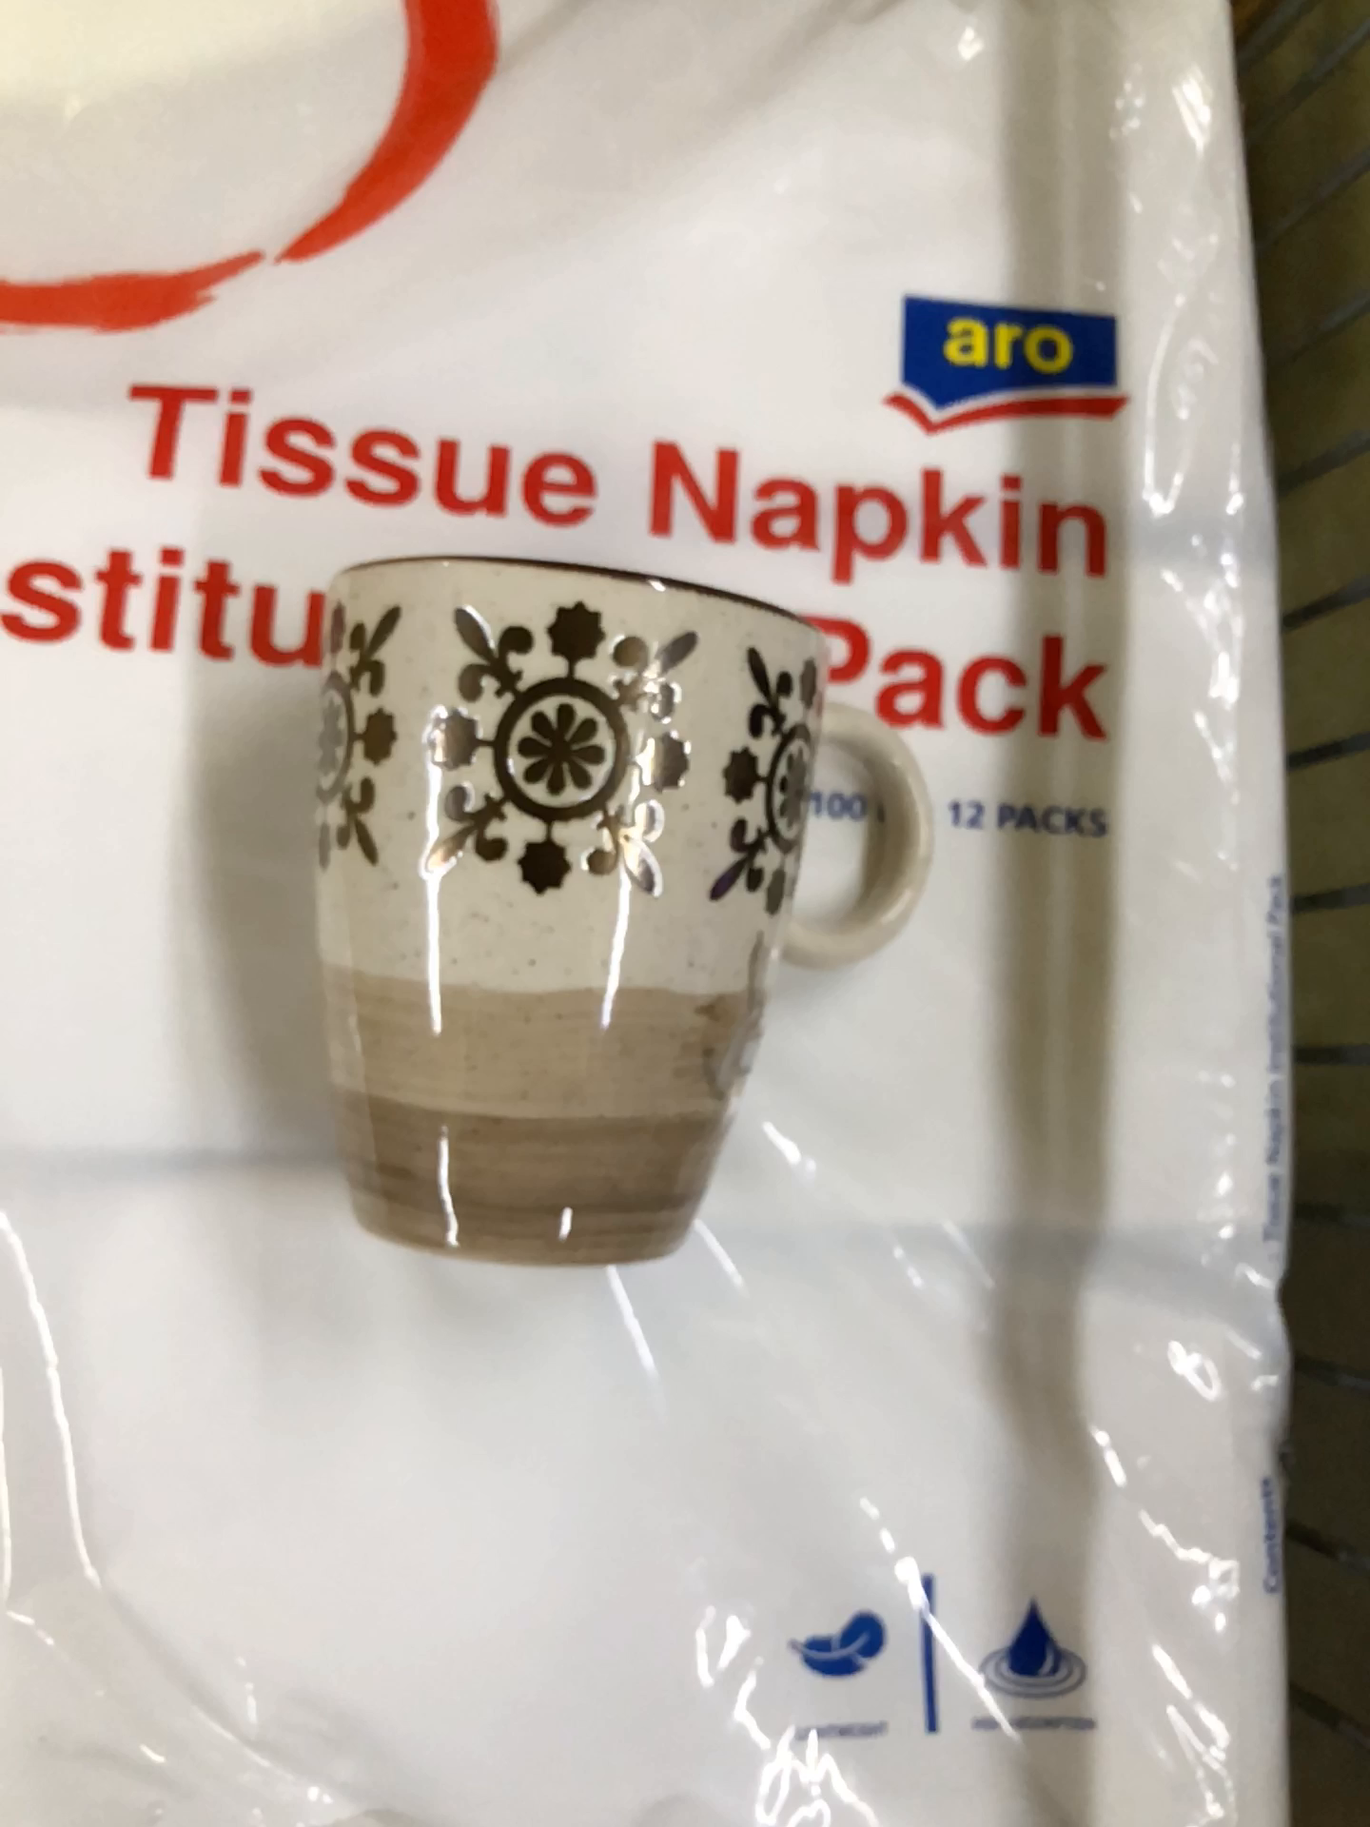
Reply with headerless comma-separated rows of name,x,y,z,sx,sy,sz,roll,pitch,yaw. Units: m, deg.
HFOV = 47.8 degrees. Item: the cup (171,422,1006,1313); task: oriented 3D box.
cup,-0.014,-0.002,0.247,0.100,0.070,0.110,8,86,-36
